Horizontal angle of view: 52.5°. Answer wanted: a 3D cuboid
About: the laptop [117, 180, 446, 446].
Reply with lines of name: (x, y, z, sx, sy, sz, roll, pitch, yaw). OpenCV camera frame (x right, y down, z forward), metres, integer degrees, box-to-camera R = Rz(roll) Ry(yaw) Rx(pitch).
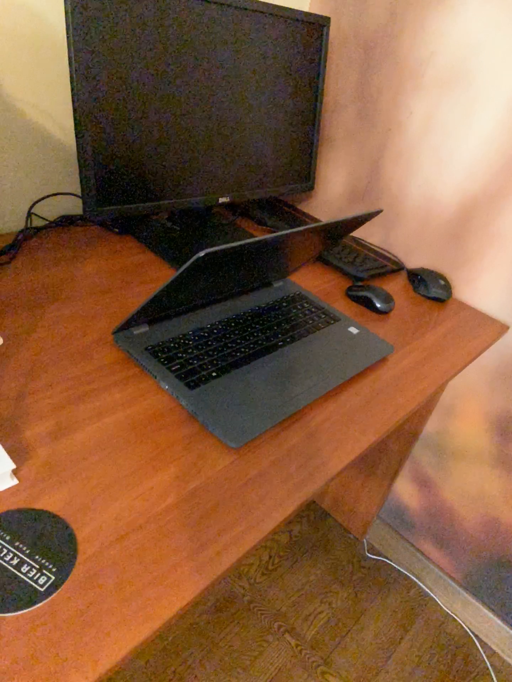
laptop: (0.042, -0.076, 0.750, 0.245, 0.193, 0.387, 37, 40, 29)
